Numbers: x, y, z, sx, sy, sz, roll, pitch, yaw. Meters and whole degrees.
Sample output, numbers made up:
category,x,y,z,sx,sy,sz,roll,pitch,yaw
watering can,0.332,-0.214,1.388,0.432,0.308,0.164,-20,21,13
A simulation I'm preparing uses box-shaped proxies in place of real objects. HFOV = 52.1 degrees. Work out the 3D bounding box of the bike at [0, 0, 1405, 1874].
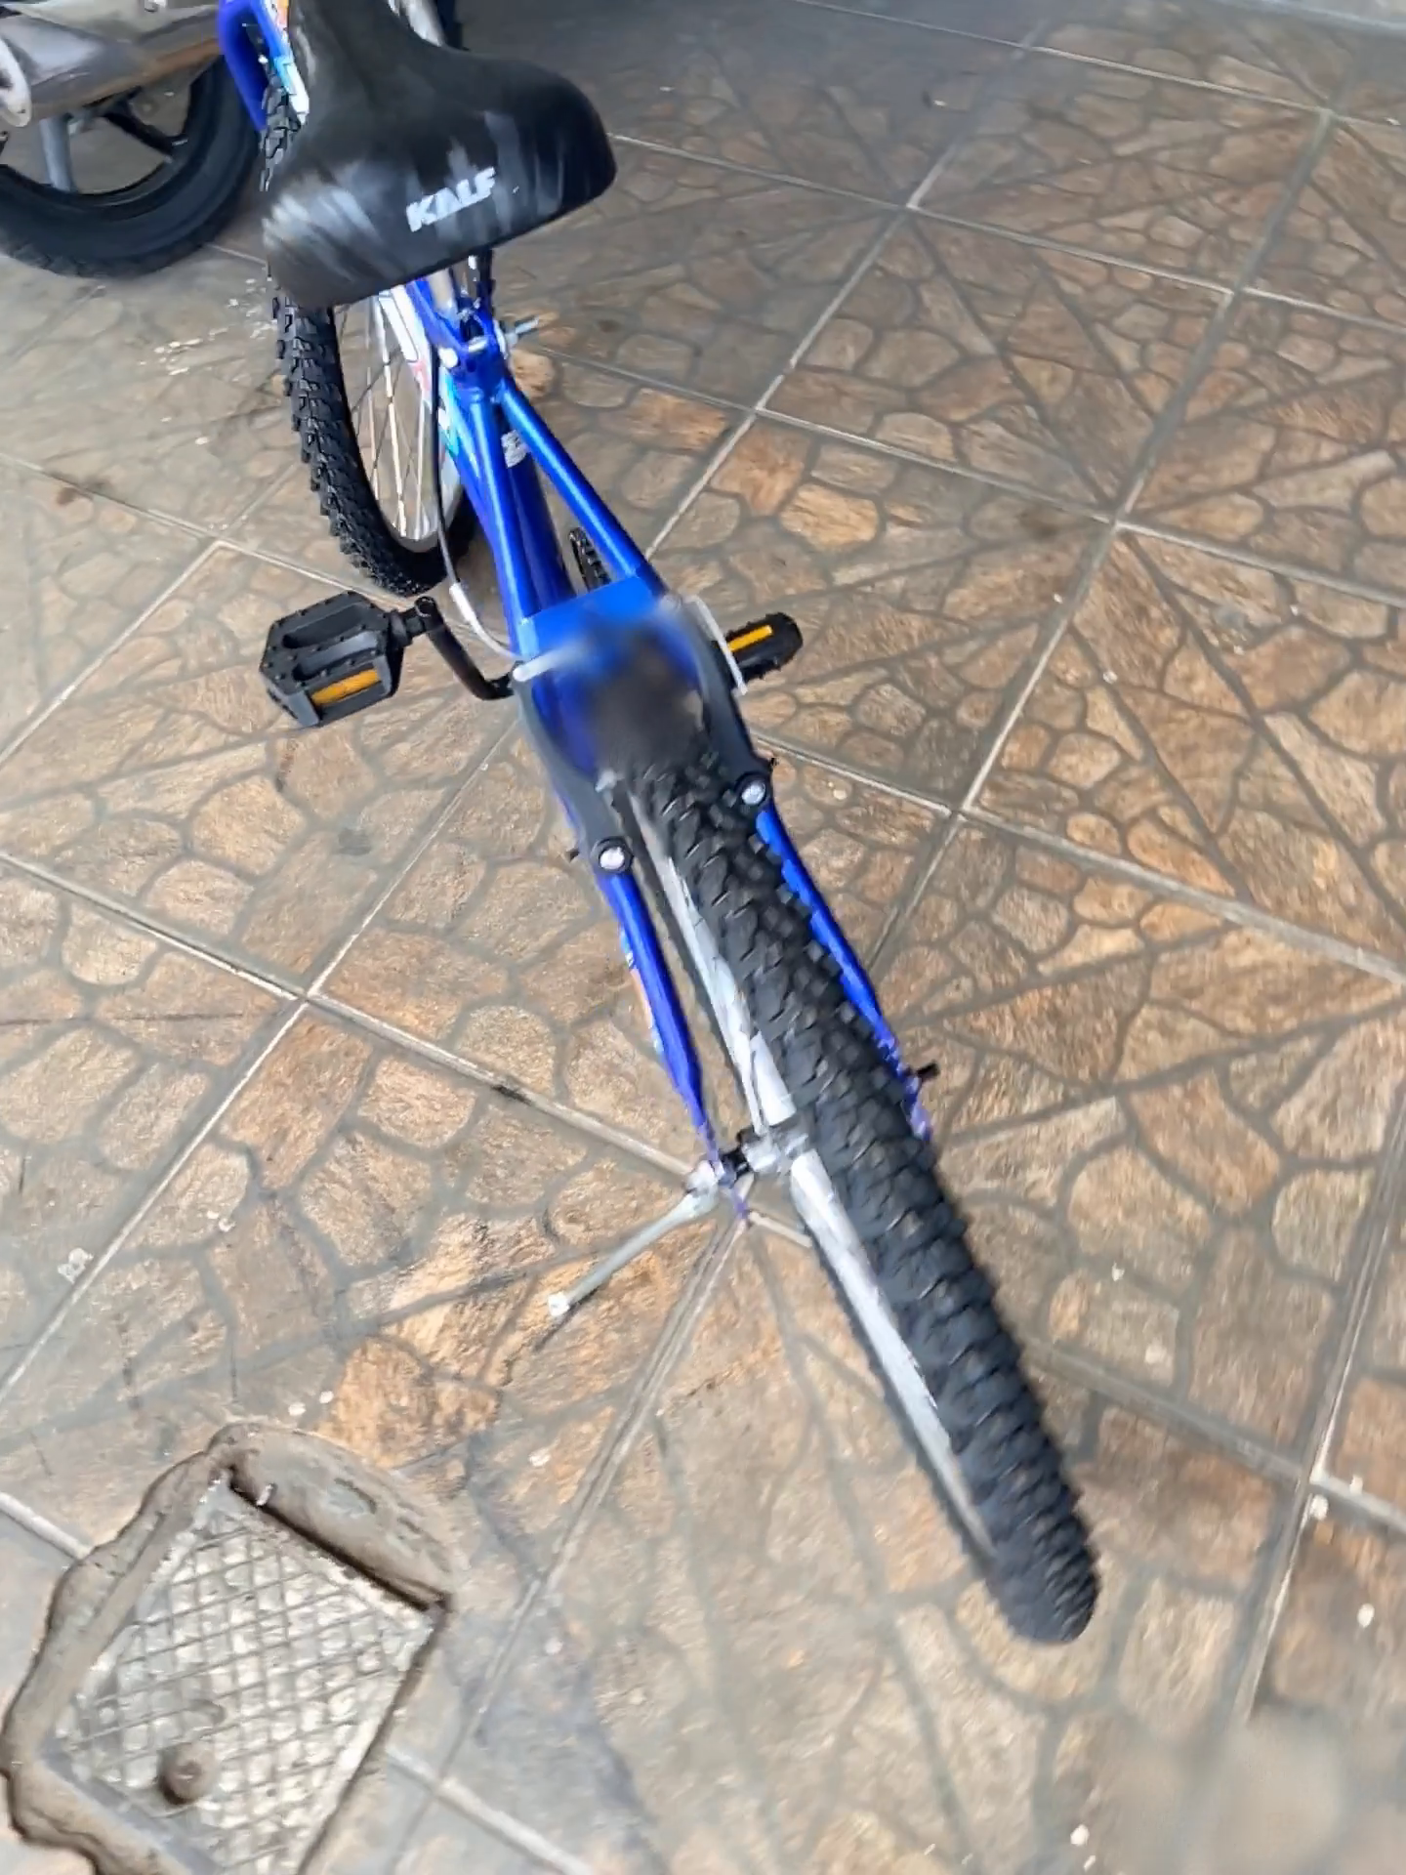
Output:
category,x,y,z,sx,sy,sz,roll,pitch,yaw
bike,-0.096,-0.353,0.921,0.623,0.925,1.491,-17,59,-9
